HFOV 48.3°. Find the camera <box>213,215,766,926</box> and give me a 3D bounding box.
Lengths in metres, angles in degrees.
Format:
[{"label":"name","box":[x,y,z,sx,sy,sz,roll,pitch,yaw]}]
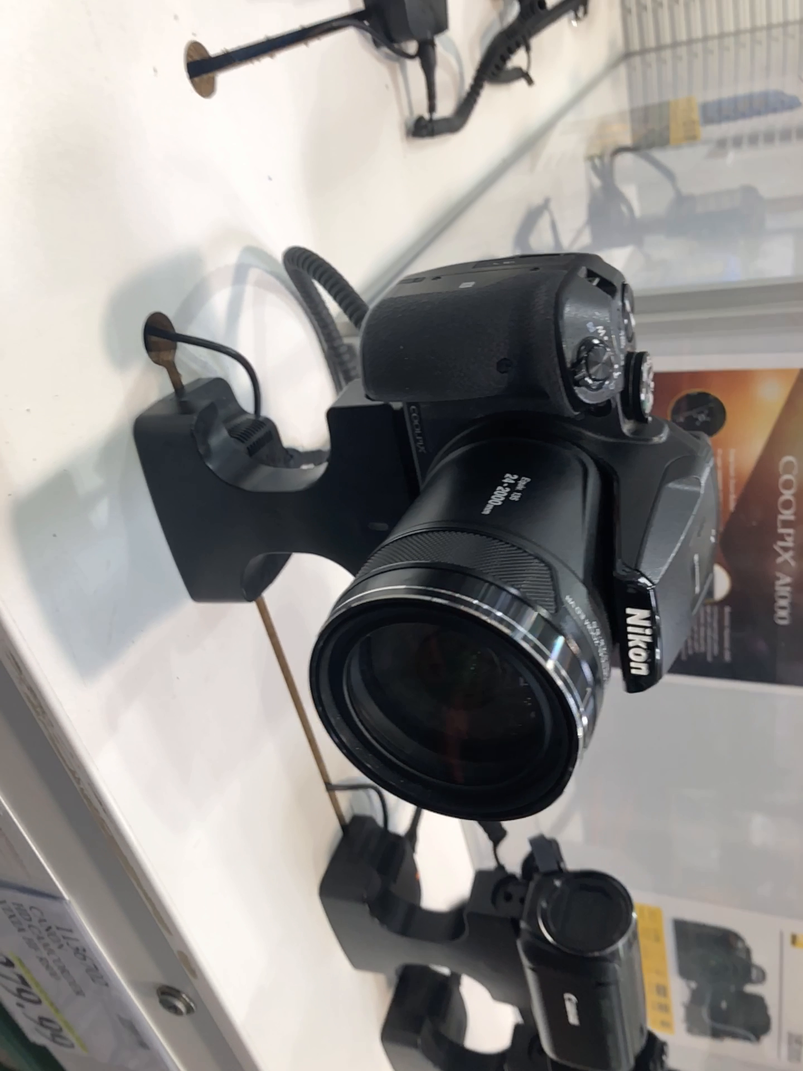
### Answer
[{"label":"camera","box":[0.048,-0.002,0.272,0.151,0.109,0.140,-55,140,-51]}]
